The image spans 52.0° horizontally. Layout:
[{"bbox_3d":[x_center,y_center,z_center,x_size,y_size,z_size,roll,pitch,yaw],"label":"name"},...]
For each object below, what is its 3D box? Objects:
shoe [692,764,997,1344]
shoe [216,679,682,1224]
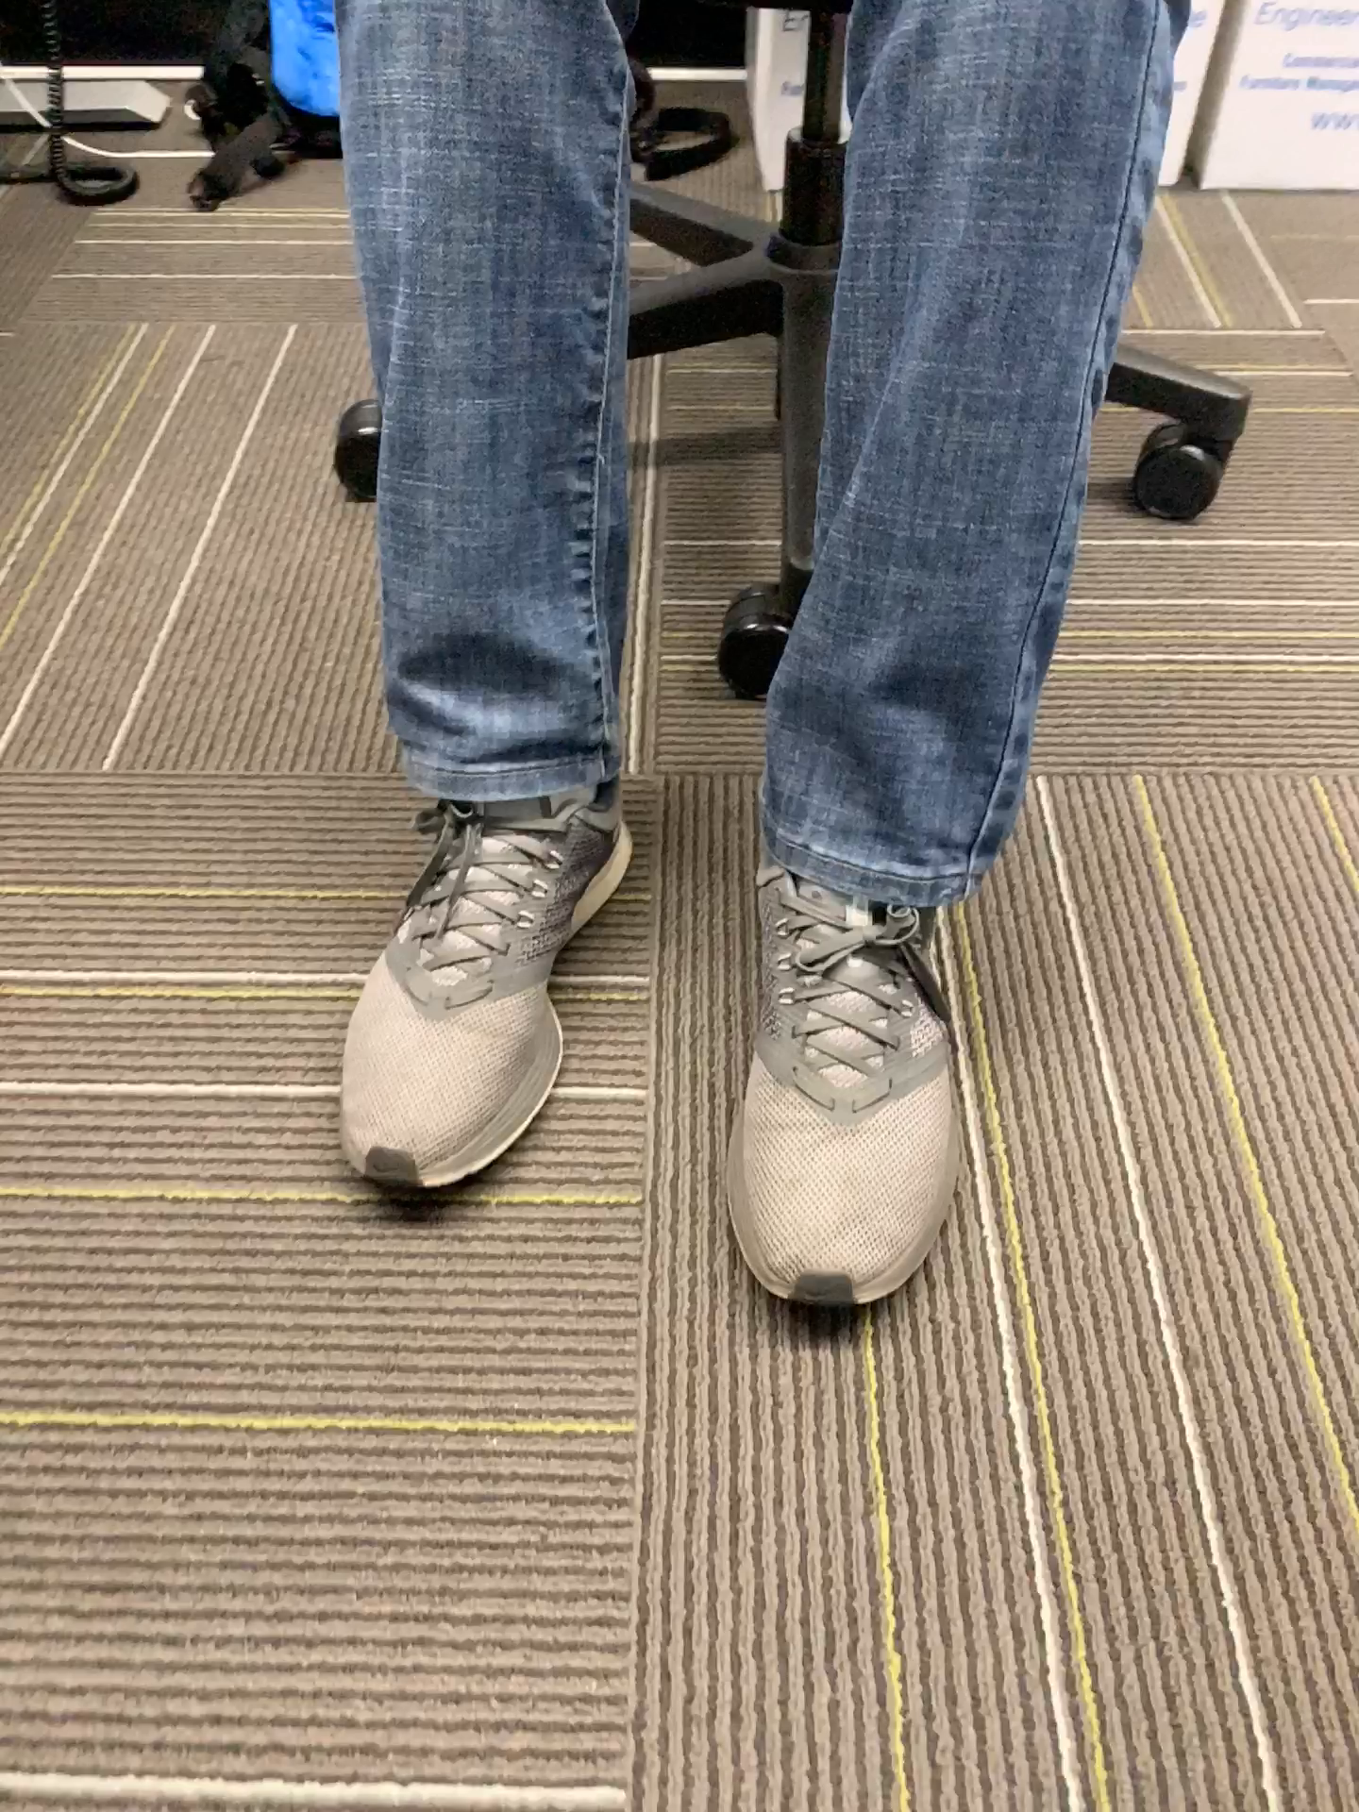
[{"bbox_3d":[0.090,0.060,0.704,0.124,0.078,0.287,7,48,6],"label":"shoe"},{"bbox_3d":[-0.104,0.009,0.737,0.132,0.078,0.285,13,49,12],"label":"shoe"}]
